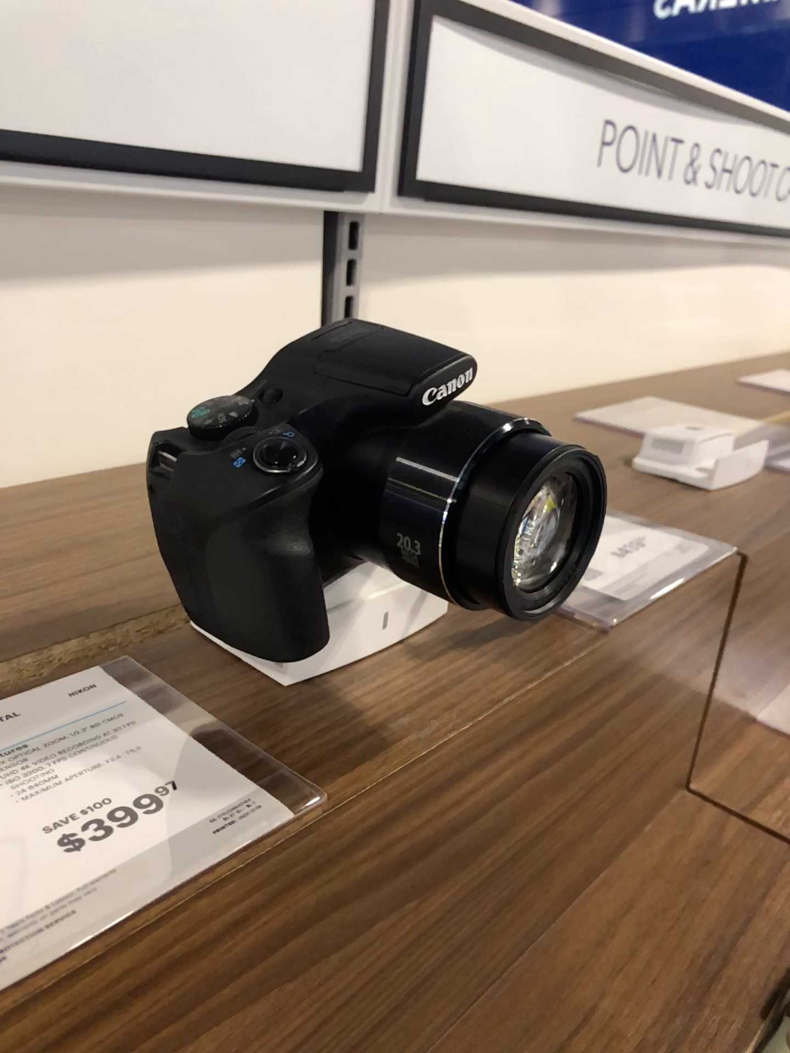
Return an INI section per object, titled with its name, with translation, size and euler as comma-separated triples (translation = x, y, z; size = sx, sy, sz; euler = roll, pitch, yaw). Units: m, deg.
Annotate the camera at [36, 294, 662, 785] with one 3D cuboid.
[camera]
translation = -0.010, -0.014, 0.284
size = 0.140, 0.069, 0.131
euler = 19, 40, 35
